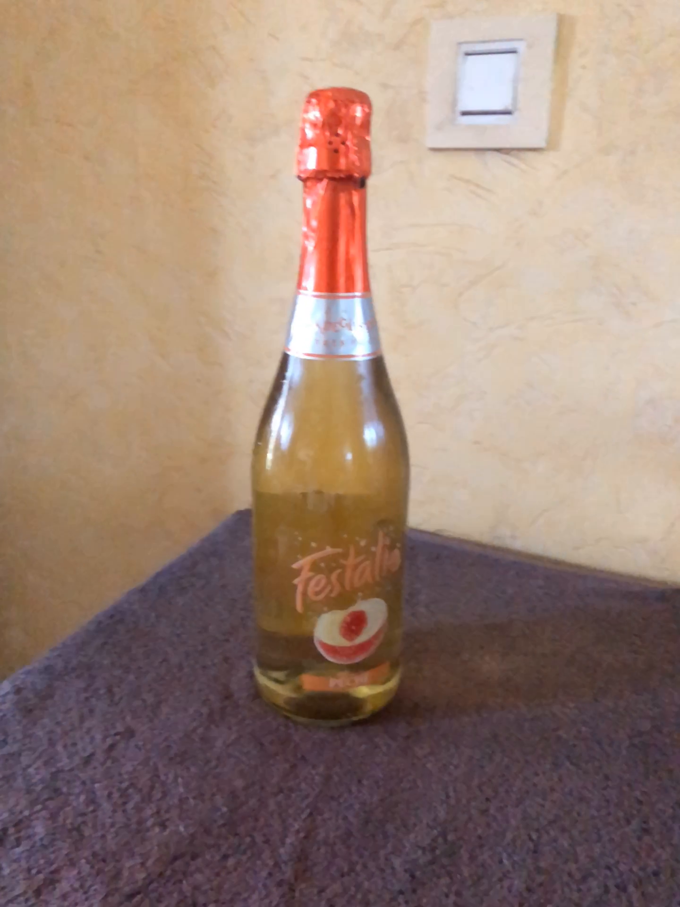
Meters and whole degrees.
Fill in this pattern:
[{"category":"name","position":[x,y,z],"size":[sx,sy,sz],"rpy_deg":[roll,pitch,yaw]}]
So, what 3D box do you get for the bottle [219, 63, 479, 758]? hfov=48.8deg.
[{"category":"bottle","position":[-0.002,-0.015,0.377],"size":[0.090,0.309,0.090],"rpy_deg":[0,18,0]}]
